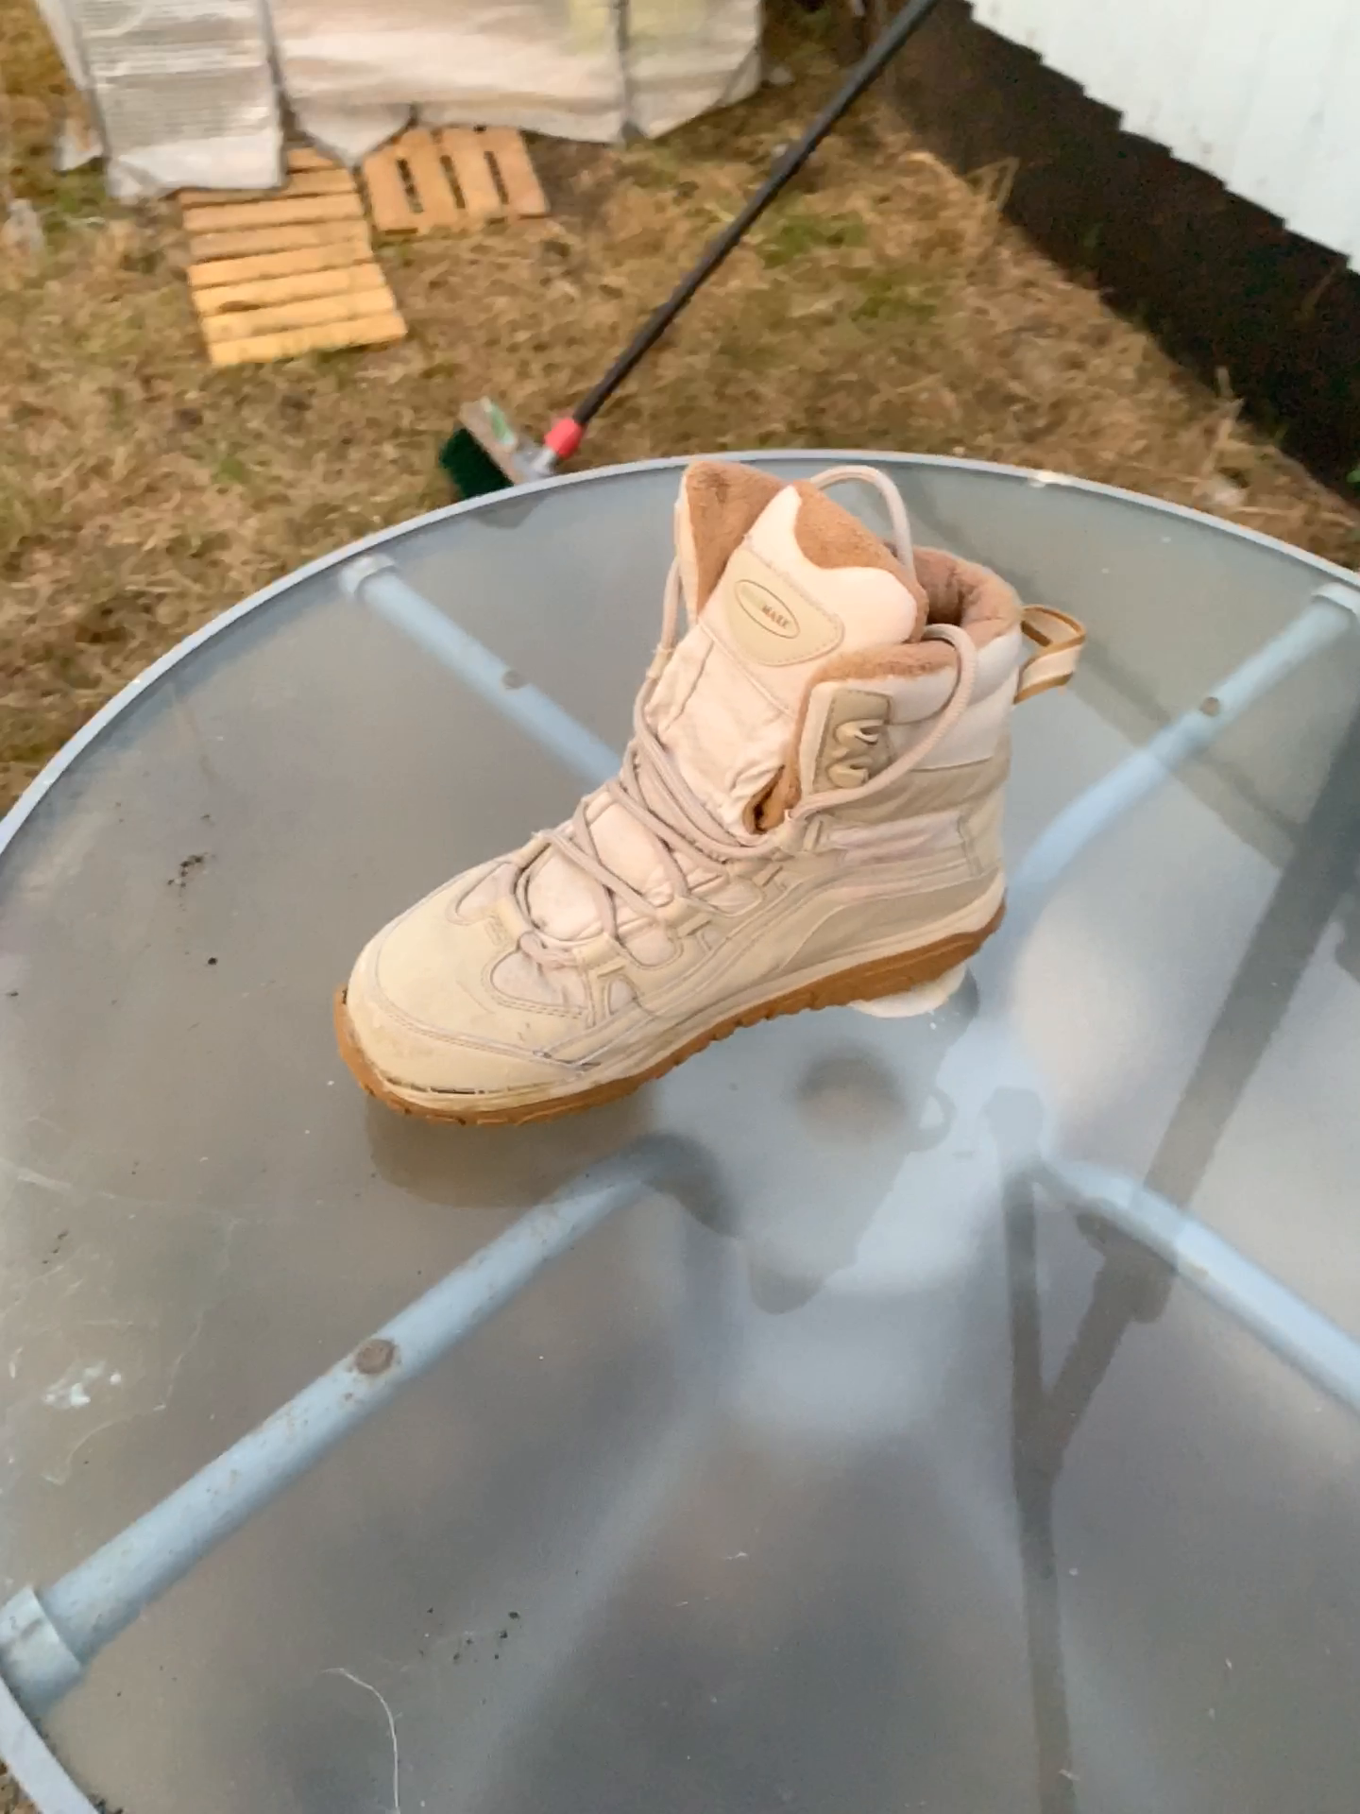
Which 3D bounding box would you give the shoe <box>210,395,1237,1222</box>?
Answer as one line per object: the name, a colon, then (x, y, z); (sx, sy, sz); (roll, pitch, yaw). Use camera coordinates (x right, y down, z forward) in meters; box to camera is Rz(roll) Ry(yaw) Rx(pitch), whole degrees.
shoe: (0.011, -0.033, 0.489); (0.280, 0.198, 0.121); (-15, 50, -13)
